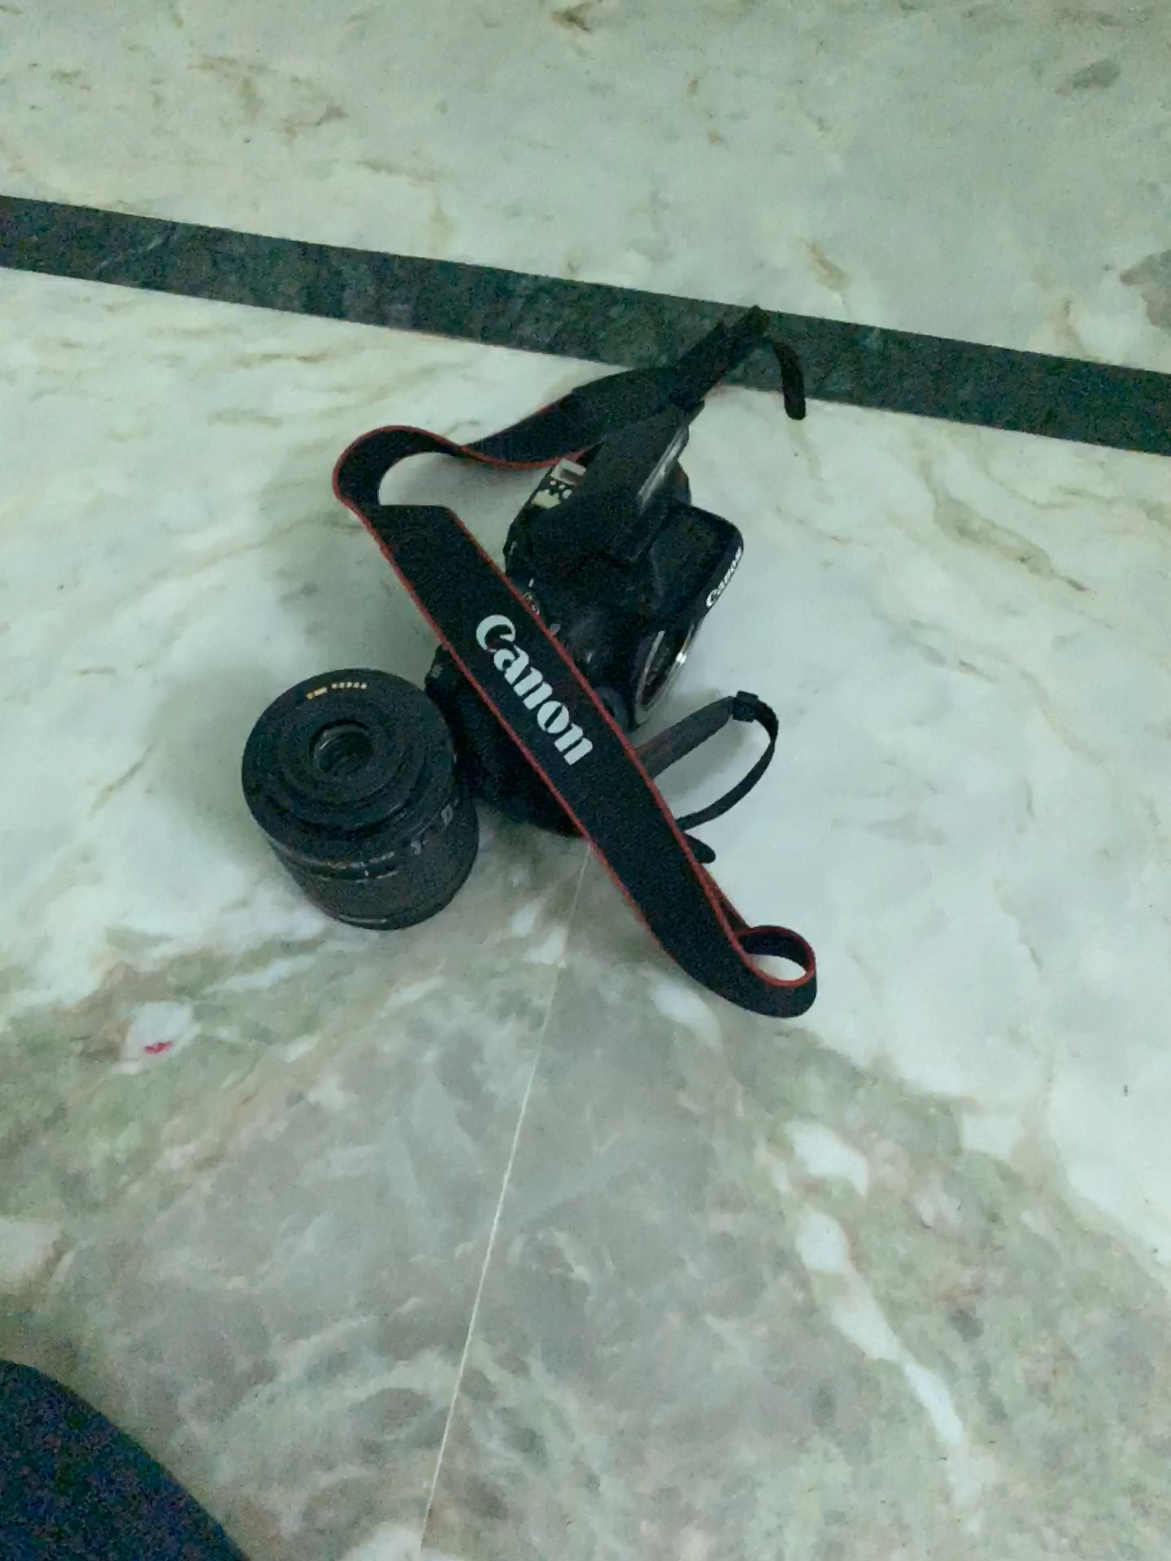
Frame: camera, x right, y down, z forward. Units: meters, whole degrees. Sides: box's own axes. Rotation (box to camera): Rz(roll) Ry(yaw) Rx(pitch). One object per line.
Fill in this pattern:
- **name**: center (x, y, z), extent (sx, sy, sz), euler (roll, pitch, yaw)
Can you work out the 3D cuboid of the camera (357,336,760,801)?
- **camera**: center (-0.006, -0.072, 0.413), extent (0.082, 0.078, 0.112), euler (26, 68, 13)
